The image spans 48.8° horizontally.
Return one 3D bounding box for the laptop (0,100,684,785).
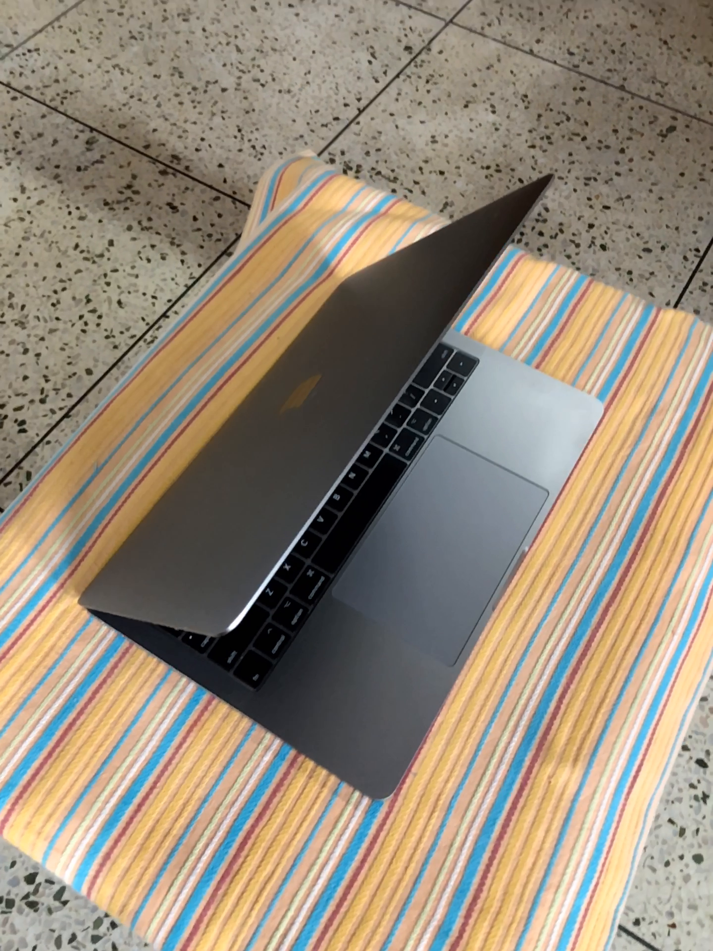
[{"bbox_3d":[0.004,-0.026,0.445,0.203,0.160,0.295,29,64,14],"label":"laptop"}]
